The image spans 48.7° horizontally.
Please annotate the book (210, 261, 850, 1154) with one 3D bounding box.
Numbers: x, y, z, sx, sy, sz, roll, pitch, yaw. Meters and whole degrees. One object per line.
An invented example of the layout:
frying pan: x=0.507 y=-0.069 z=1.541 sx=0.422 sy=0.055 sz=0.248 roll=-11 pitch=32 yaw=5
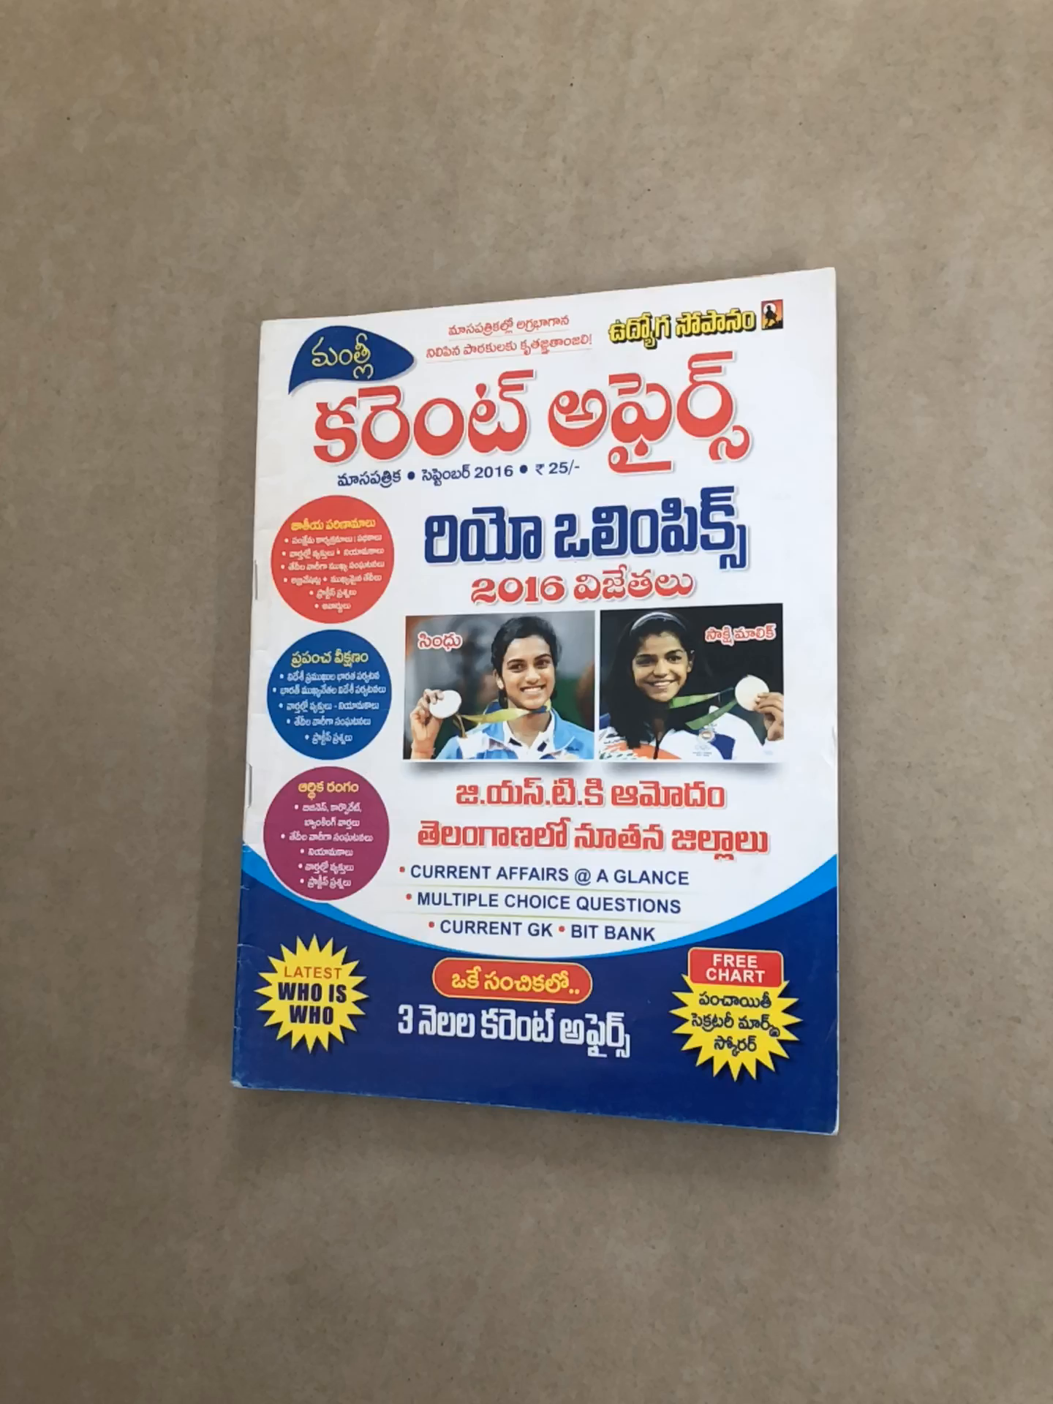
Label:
book: x=-0.002 y=-0.003 z=0.369 sx=0.200 sy=0.010 sz=0.260 roll=0 pitch=85 yaw=15
